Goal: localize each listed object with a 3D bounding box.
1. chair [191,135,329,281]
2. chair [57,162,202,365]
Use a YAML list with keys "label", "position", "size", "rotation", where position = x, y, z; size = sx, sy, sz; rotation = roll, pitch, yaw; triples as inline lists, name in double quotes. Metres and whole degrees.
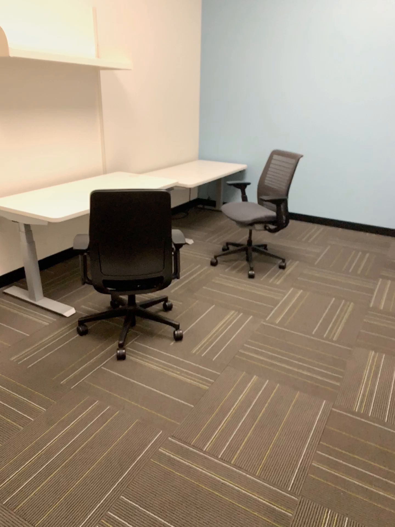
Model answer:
- label: "chair"
  position: [0.448, -0.526, 3.454]
  size: [0.770, 0.995, 0.895]
  rotation: [-6, 23, -17]
- label: "chair"
  position: [-0.423, -0.065, 2.437]
  size: [0.680, 0.935, 0.774]
  rotation: [-5, 23, -15]
